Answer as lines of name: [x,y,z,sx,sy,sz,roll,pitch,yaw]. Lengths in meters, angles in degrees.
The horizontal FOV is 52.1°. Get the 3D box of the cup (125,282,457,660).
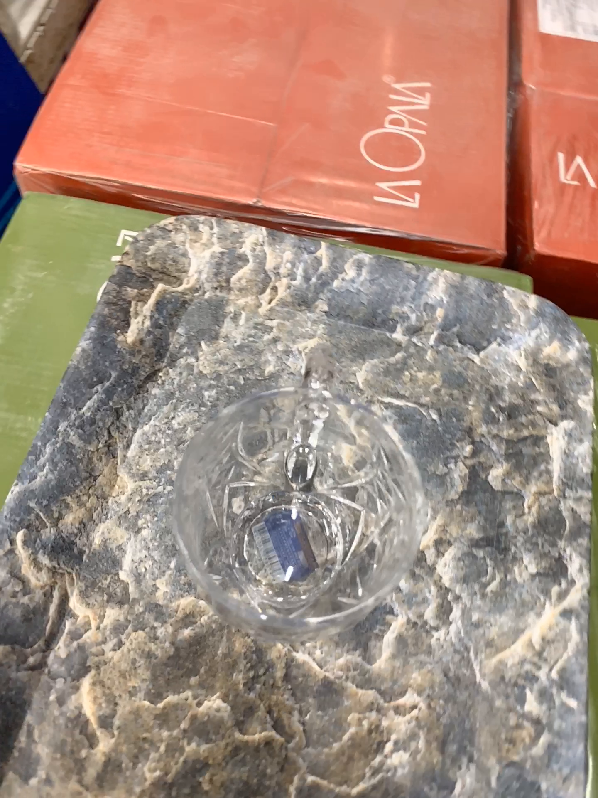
cup: [-0.002,0.027,0.201,0.080,0.070,0.100,4,63,-3]
